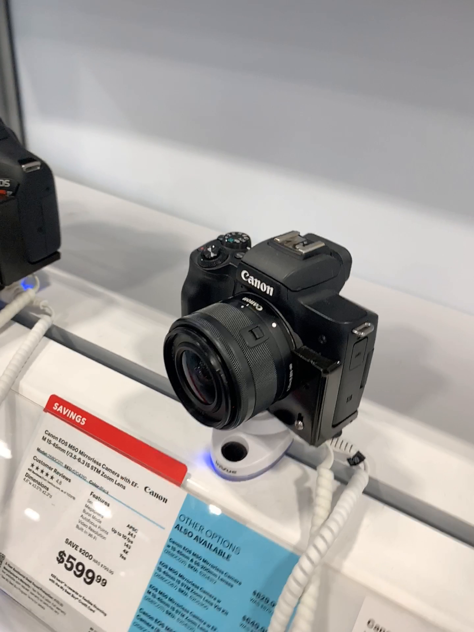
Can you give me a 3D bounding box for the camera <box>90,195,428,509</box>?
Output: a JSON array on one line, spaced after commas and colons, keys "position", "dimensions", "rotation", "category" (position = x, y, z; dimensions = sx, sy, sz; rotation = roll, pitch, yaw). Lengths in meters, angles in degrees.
[{"position": [0.008, 0.005, 0.260], "dimensions": [0.121, 0.080, 0.110], "rotation": [32, 42, 33], "category": "camera"}]
